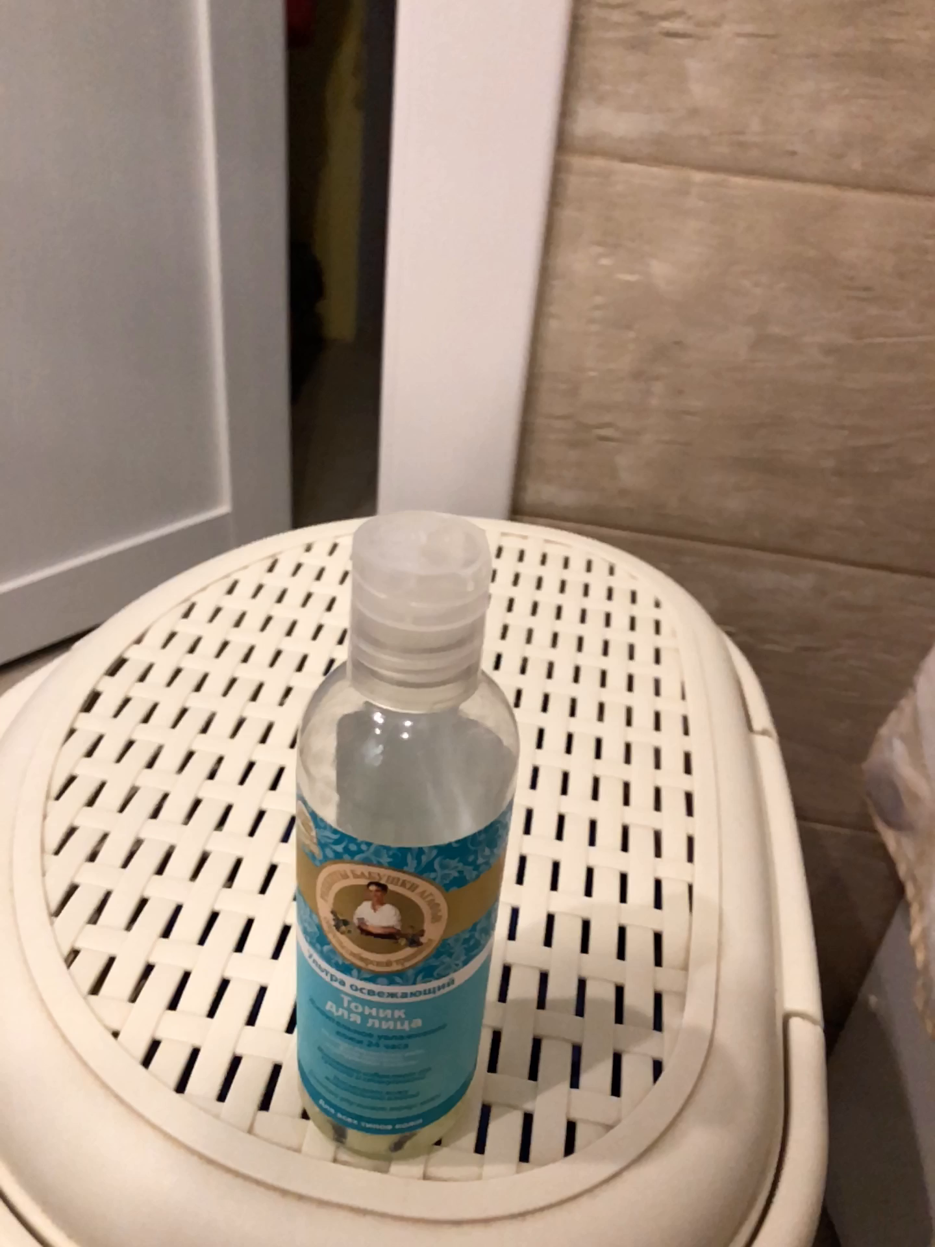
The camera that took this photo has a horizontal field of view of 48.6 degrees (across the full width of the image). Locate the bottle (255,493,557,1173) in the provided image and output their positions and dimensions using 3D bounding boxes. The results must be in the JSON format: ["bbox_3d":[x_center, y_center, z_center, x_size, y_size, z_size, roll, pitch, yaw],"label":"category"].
[{"bbox_3d":[-0.015,0.053,0.228,0.045,0.153,0.045,4,34,-3],"label":"bottle"}]
